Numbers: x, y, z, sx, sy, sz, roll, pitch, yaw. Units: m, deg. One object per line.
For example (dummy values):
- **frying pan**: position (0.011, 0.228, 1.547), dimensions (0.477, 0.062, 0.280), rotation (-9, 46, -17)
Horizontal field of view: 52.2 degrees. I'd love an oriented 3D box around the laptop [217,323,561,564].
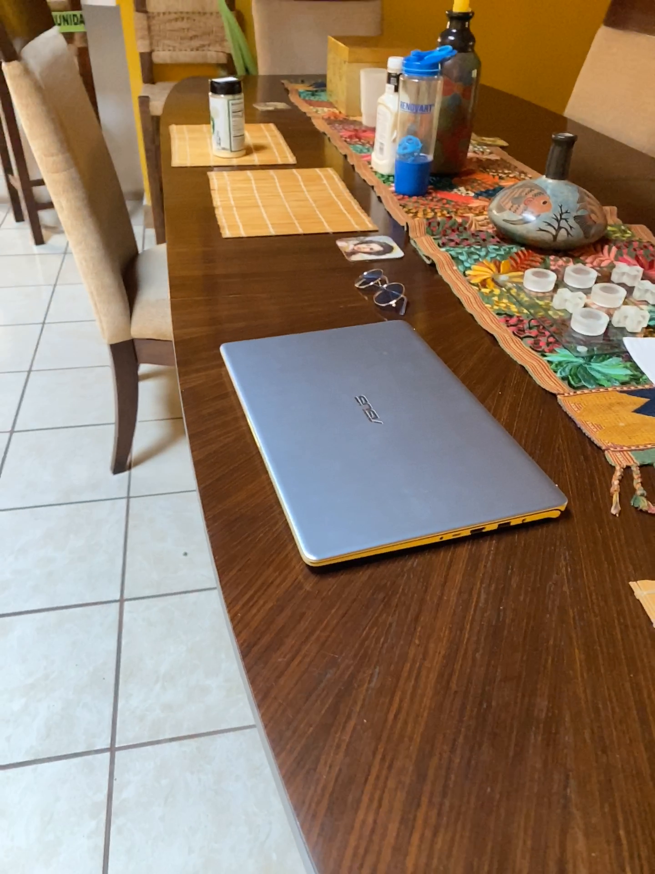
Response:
- **laptop**: position (0.039, -0.024, 0.739), dimensions (0.246, 0.001, 0.385), rotation (-10, 39, -16)
